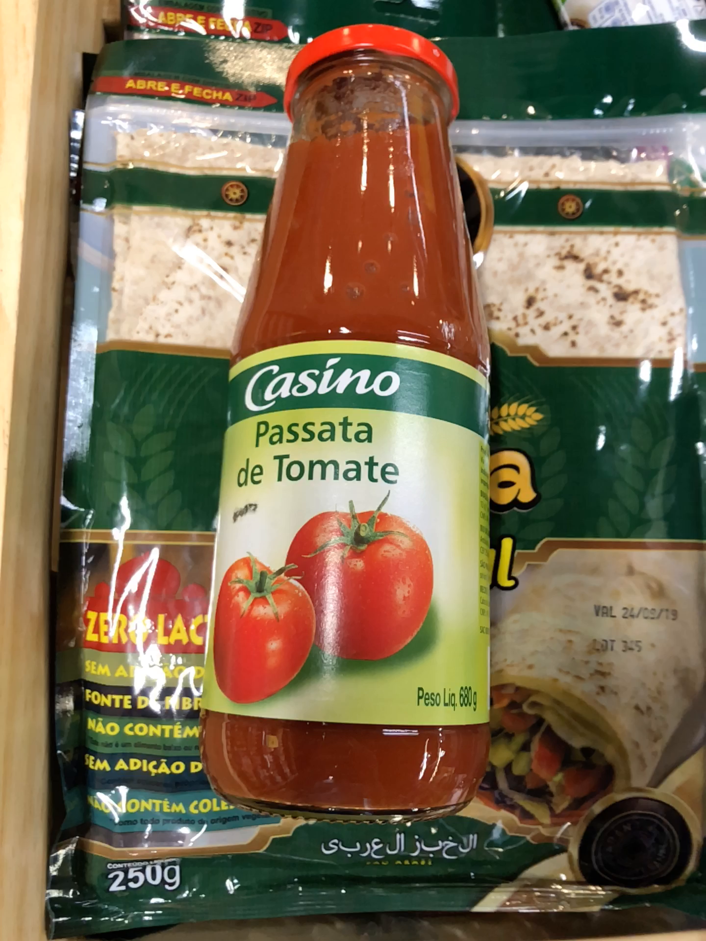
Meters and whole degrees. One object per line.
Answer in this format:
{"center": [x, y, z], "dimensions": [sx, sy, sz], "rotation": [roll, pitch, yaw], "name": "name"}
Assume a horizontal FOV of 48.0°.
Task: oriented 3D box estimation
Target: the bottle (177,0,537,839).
{"center": [0.007, -0.029, 0.232], "dimensions": [0.070, 0.080, 0.230], "rotation": [-4, 78, 23], "name": "bottle"}
